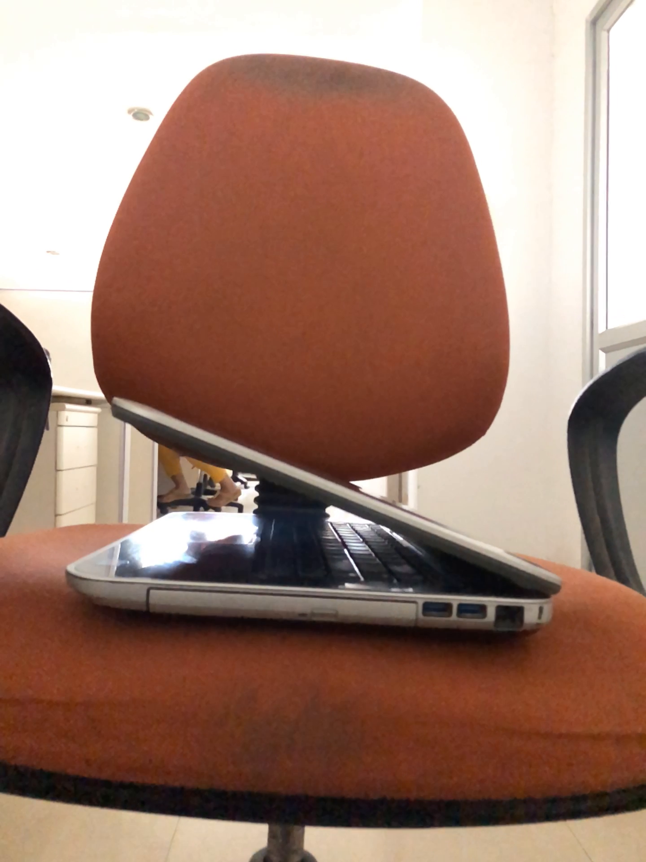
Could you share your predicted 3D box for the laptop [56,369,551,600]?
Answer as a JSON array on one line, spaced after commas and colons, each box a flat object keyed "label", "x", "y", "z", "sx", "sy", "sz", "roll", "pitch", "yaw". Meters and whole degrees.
[{"label": "laptop", "x": -0.016, "y": 0.033, "z": 0.519, "sx": 0.233, "sy": 0.091, "sz": 0.366, "roll": 4, "pitch": -2, "yaw": -3}]
